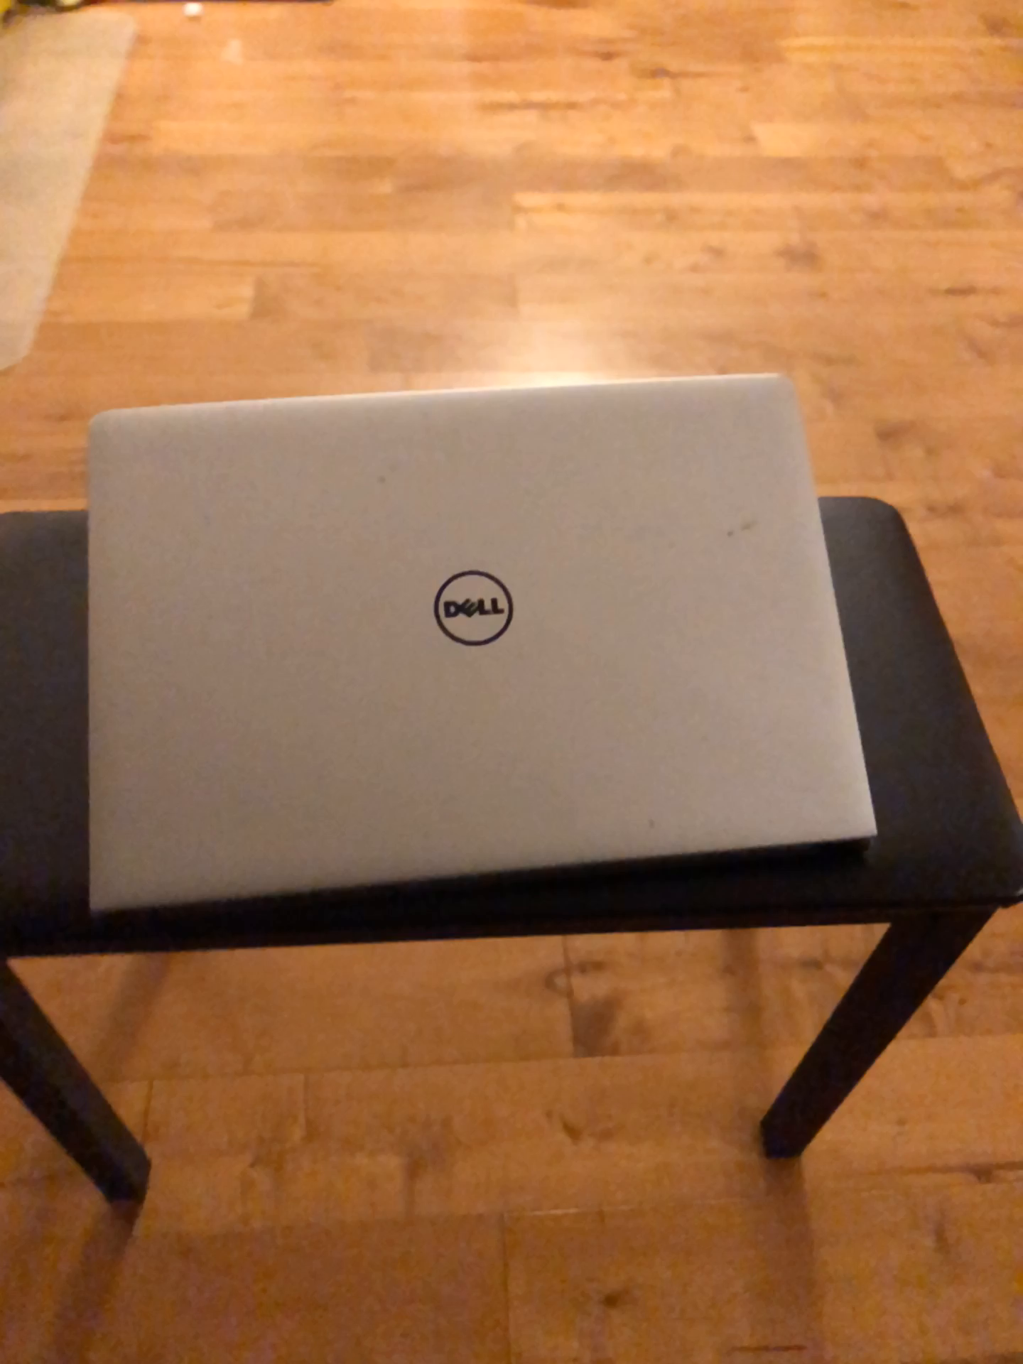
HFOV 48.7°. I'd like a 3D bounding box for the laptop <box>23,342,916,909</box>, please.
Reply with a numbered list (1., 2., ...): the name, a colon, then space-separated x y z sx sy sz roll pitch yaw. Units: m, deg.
1. laptop: -0.029 -0.041 0.575 0.365 0.107 0.249 -5 53 -5
